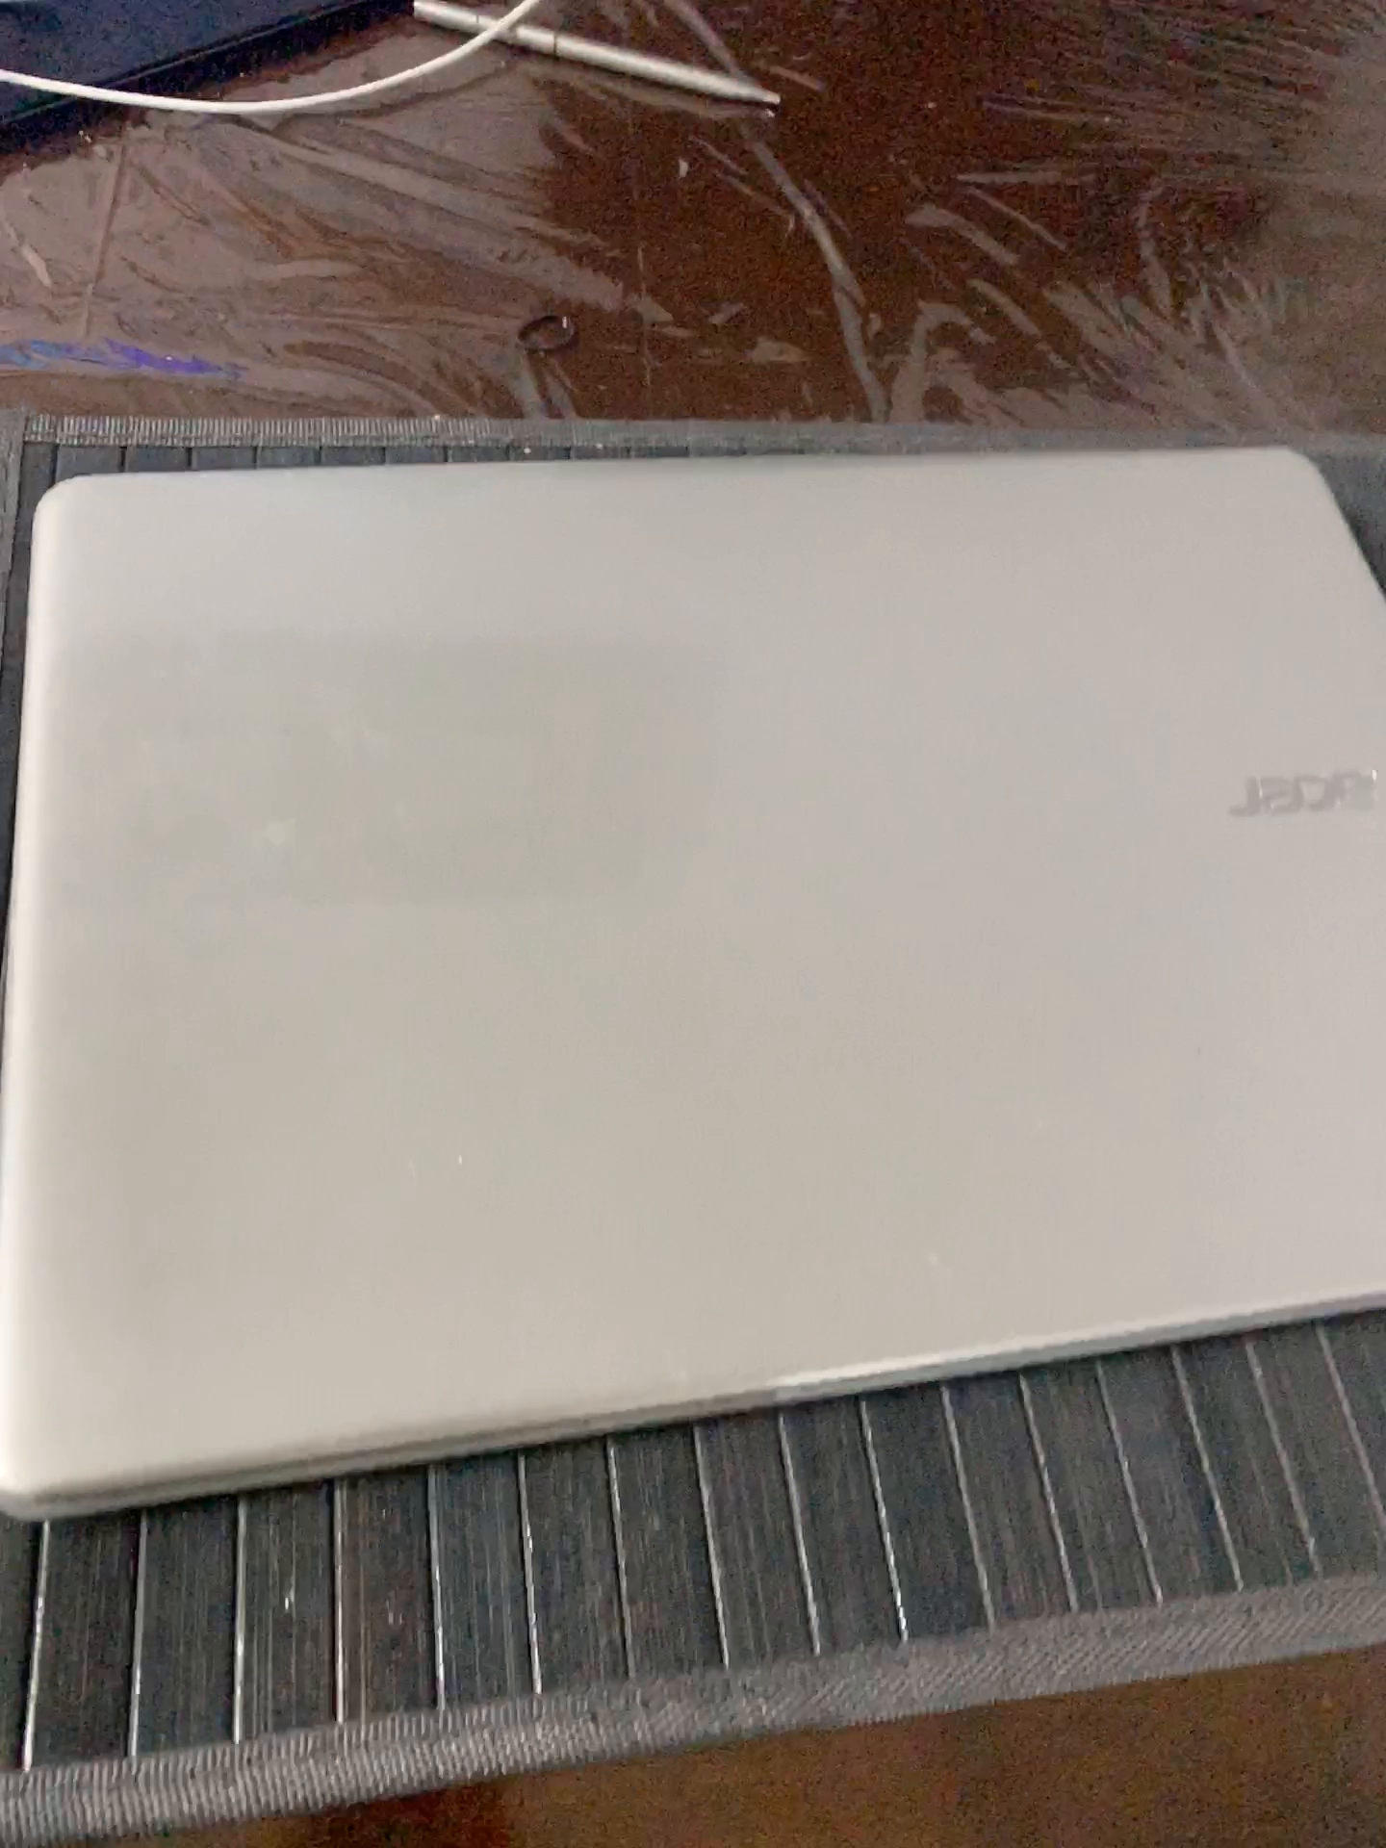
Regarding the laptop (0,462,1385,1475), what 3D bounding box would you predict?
[{"bbox_3d":[0.022,-0.021,0.319,0.335,0.002,0.223,-4,62,-13],"label":"laptop"}]
